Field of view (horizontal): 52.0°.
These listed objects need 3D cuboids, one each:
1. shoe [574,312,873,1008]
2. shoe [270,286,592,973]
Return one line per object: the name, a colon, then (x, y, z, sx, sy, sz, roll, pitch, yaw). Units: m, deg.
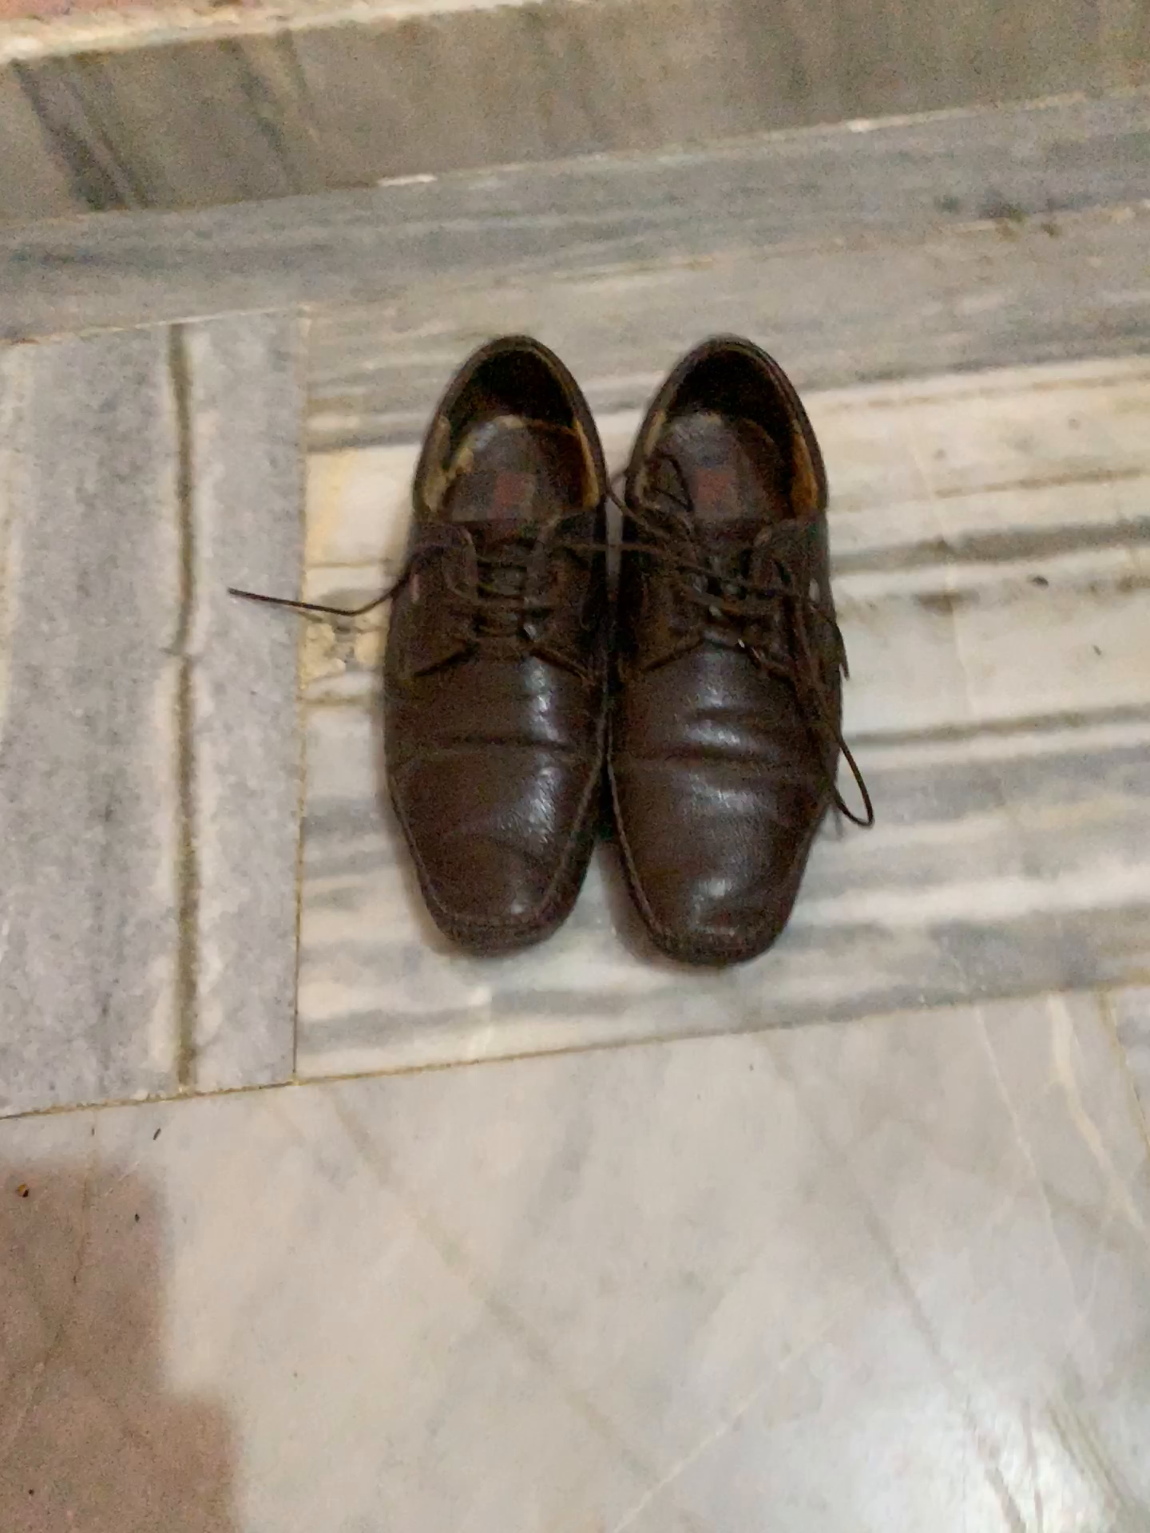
shoe: (0.056, -0.051, 0.510, 0.100, 0.110, 0.282, 0, 63, 3)
shoe: (-0.048, -0.064, 0.515, 0.100, 0.110, 0.282, 0, 63, 3)
